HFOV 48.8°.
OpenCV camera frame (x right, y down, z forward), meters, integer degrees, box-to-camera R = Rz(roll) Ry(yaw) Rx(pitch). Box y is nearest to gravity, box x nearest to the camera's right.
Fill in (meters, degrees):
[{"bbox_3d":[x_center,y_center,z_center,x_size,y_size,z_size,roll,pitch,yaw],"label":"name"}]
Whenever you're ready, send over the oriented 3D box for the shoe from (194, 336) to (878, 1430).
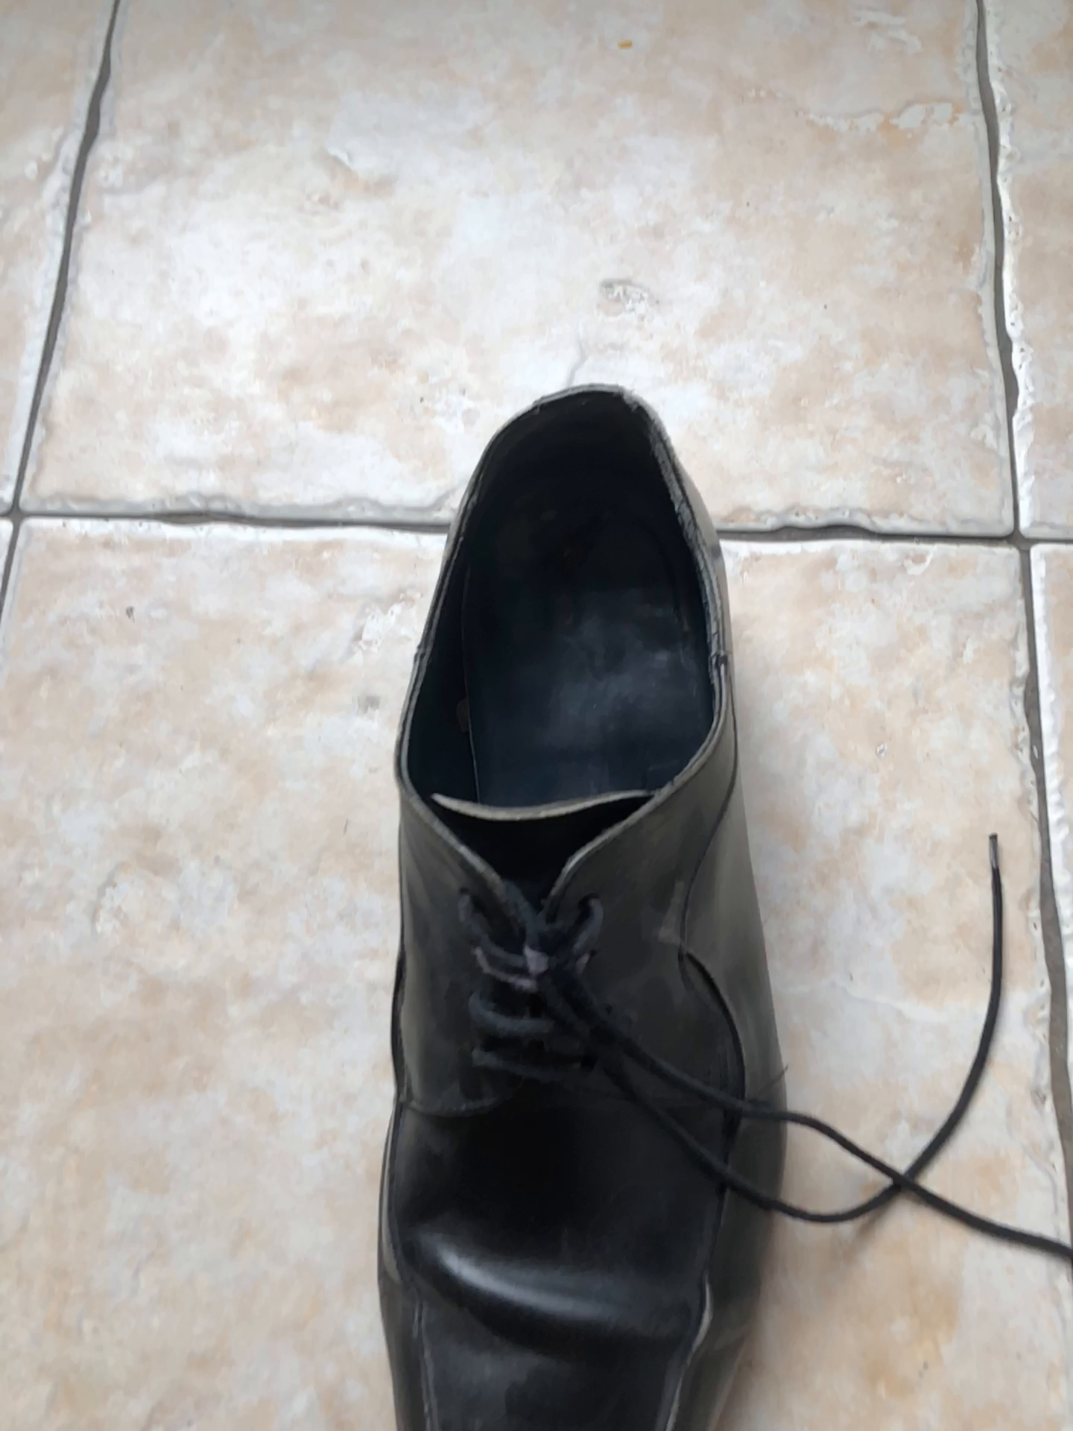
[{"bbox_3d":[0.014,0.068,0.267,0.100,0.090,0.290,4,74,6],"label":"shoe"}]
